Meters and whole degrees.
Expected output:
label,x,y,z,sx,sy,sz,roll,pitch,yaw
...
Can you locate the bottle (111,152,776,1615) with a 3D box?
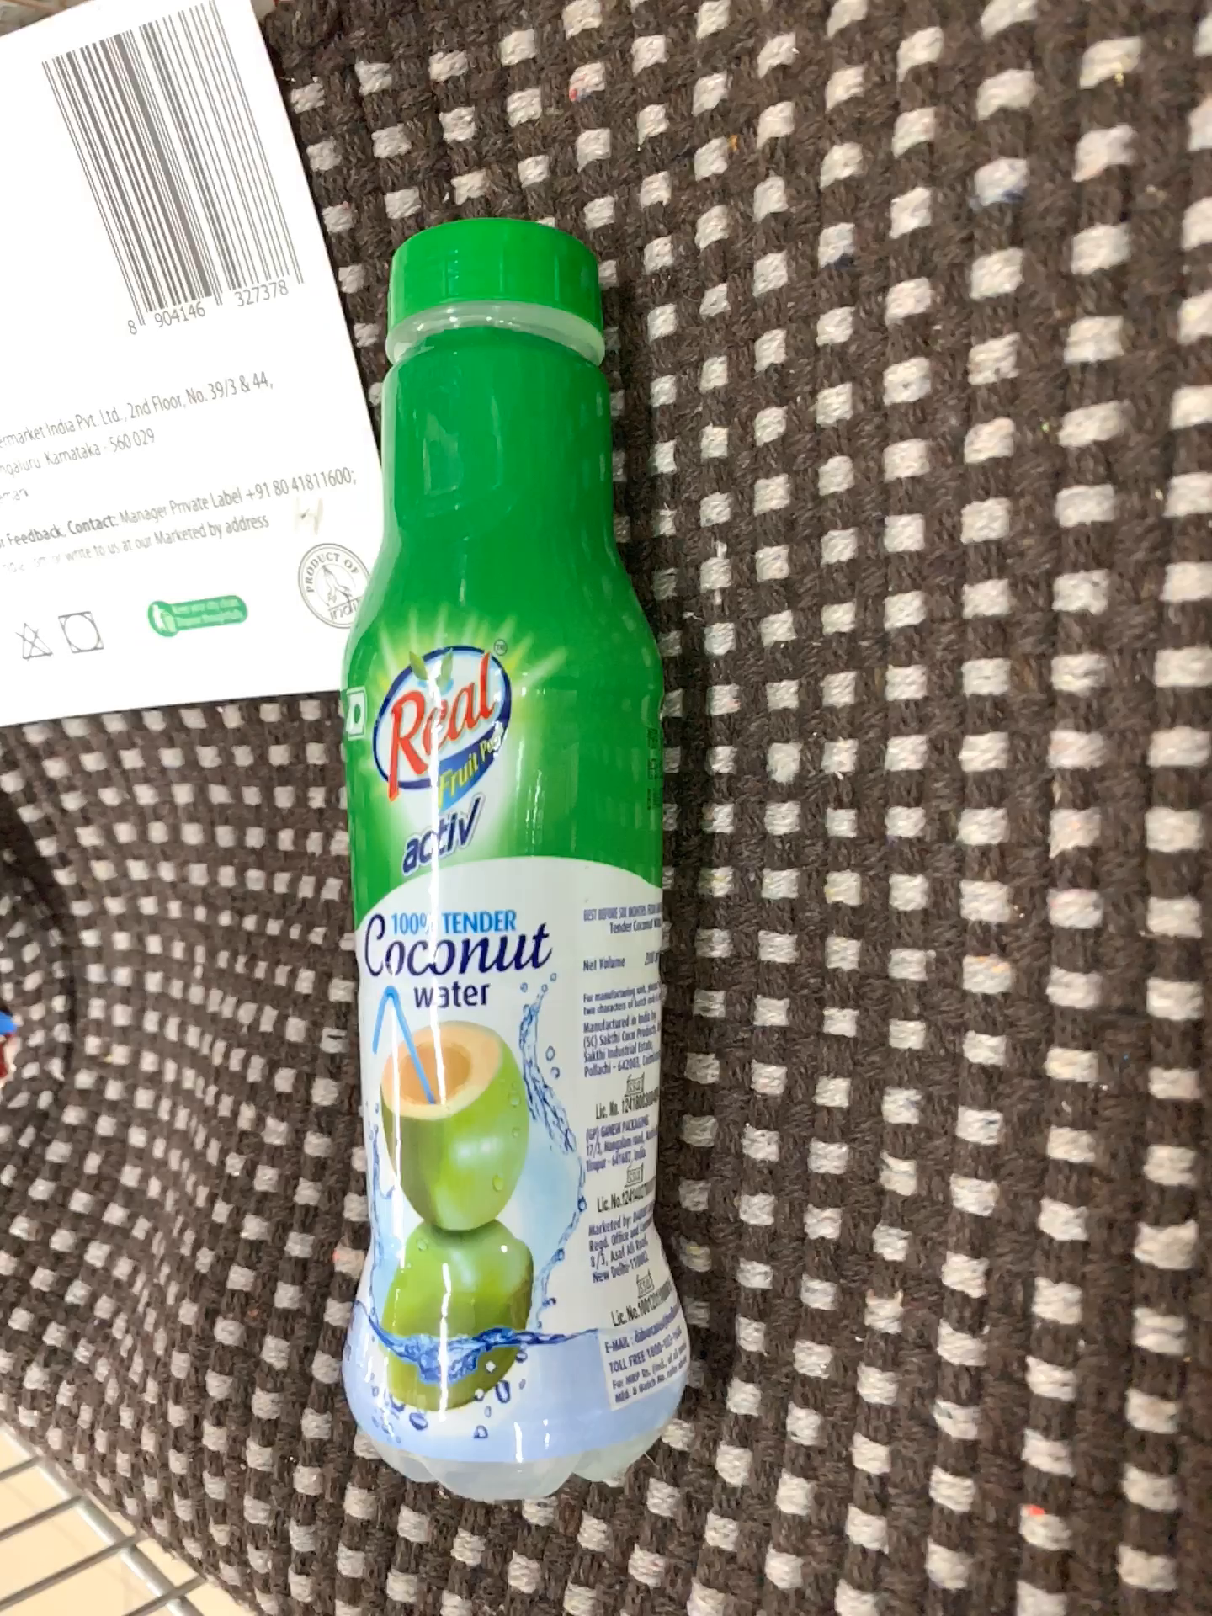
label,x,y,z,sx,sy,sz,roll,pitch,yaw
bottle,-0.018,0.015,0.171,0.060,0.040,0.170,-2,97,27
